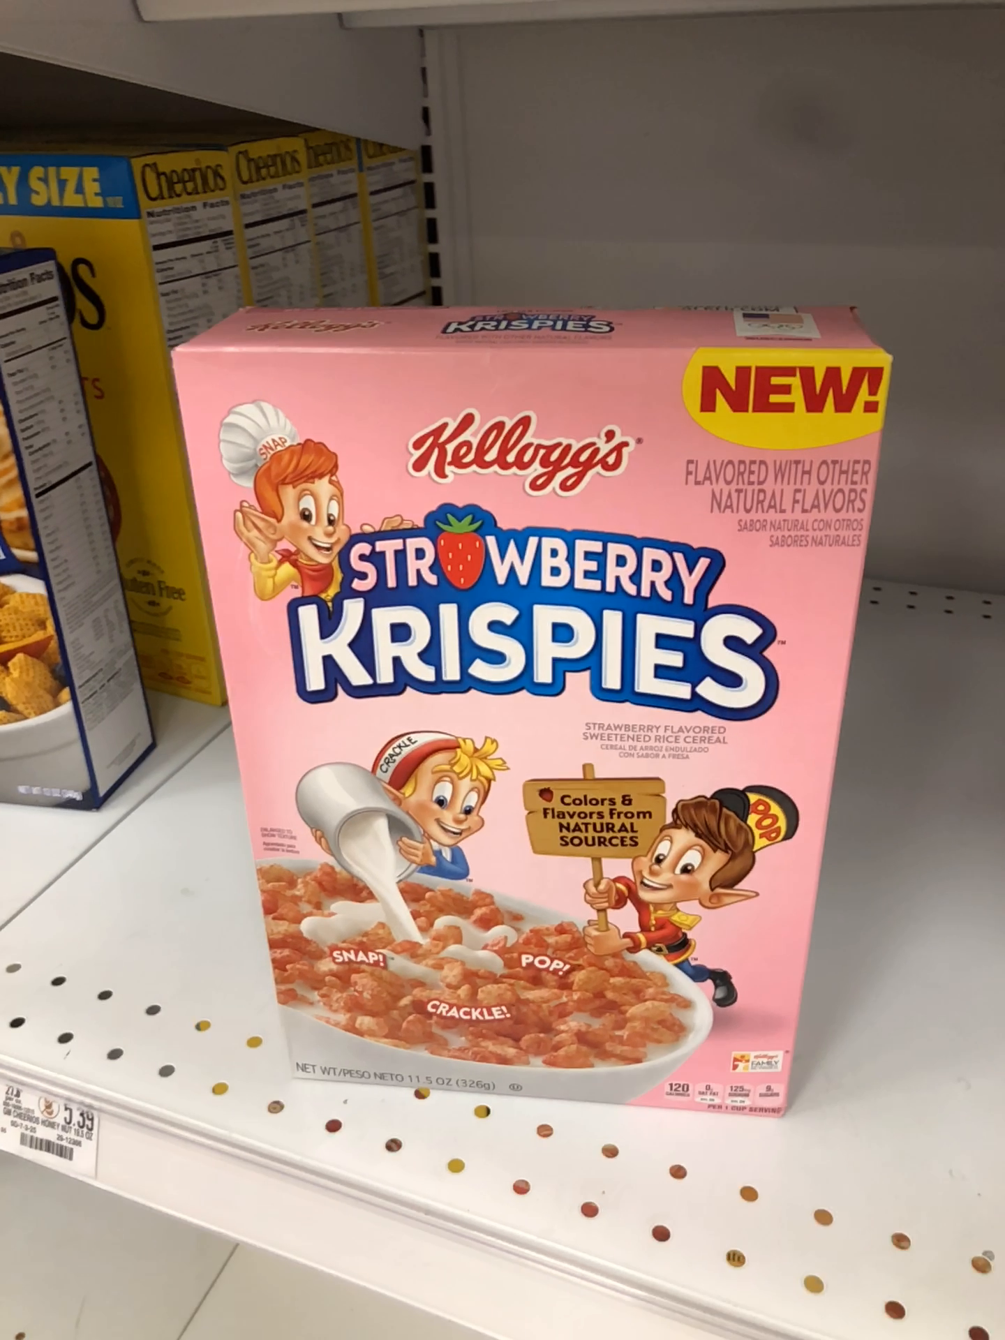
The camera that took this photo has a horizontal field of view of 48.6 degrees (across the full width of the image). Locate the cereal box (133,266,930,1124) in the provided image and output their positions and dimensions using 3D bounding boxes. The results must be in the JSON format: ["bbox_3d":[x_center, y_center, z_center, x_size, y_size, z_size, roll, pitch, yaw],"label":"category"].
[{"bbox_3d":[0.014,0.023,0.381,0.200,0.289,0.070,1,31,8],"label":"cereal box"}]
